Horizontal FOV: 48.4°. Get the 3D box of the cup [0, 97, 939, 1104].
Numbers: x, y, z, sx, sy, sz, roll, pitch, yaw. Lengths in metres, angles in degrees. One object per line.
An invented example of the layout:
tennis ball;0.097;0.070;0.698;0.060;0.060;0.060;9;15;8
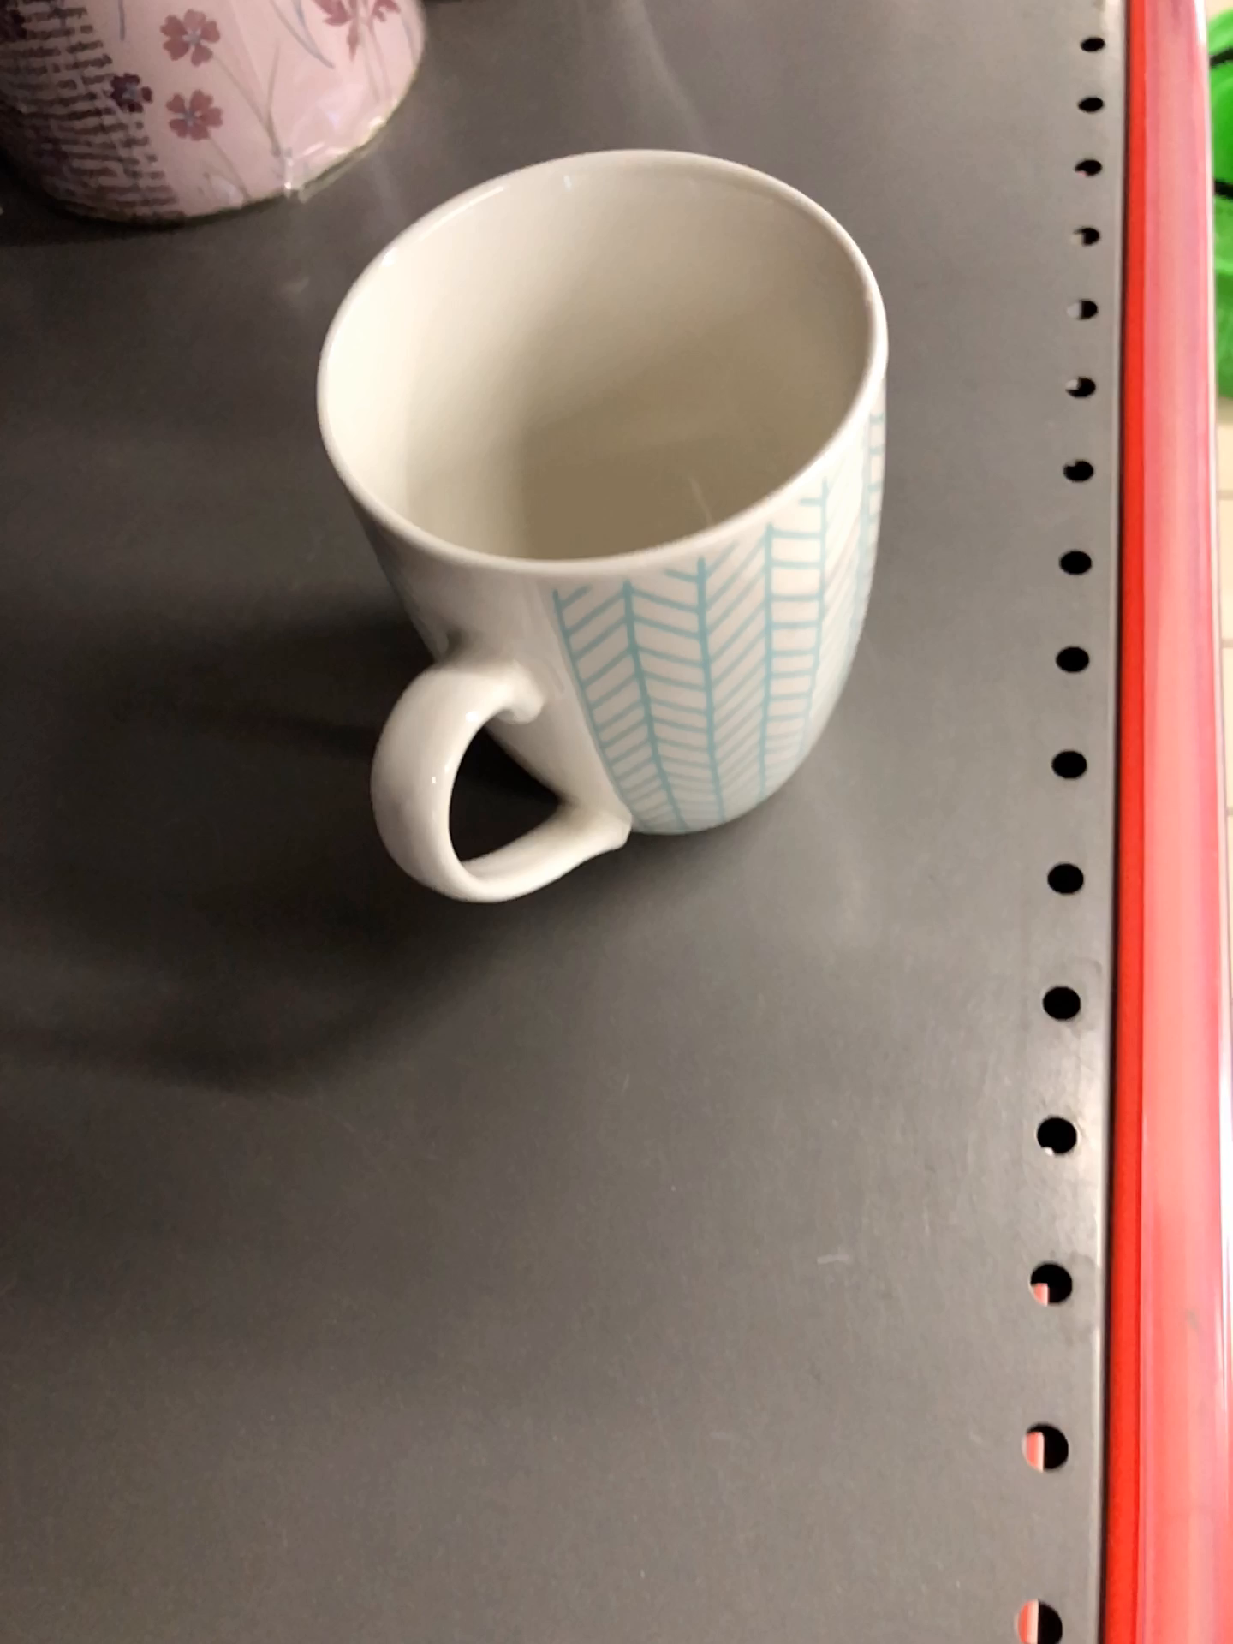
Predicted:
cup;-0.015;-0.037;0.242;0.093;0.096;0.120;24;68;18
